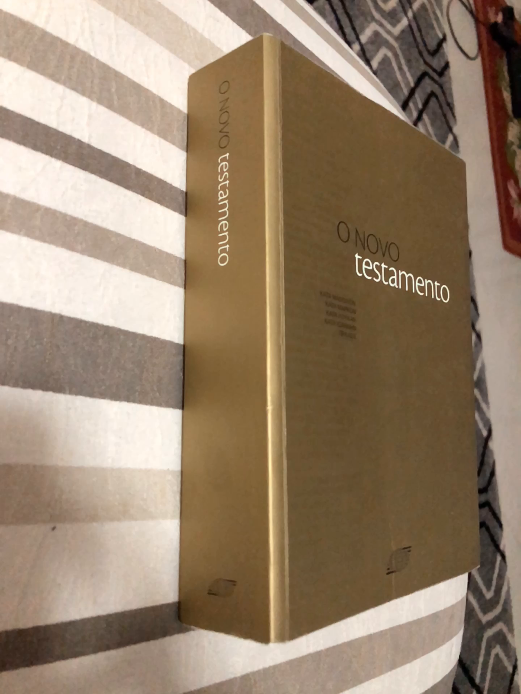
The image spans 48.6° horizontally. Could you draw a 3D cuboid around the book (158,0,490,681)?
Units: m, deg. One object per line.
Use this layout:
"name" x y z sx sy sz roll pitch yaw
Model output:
"book" 0.035 -0.006 0.258 0.161 0.050 0.230 10 74 -47
